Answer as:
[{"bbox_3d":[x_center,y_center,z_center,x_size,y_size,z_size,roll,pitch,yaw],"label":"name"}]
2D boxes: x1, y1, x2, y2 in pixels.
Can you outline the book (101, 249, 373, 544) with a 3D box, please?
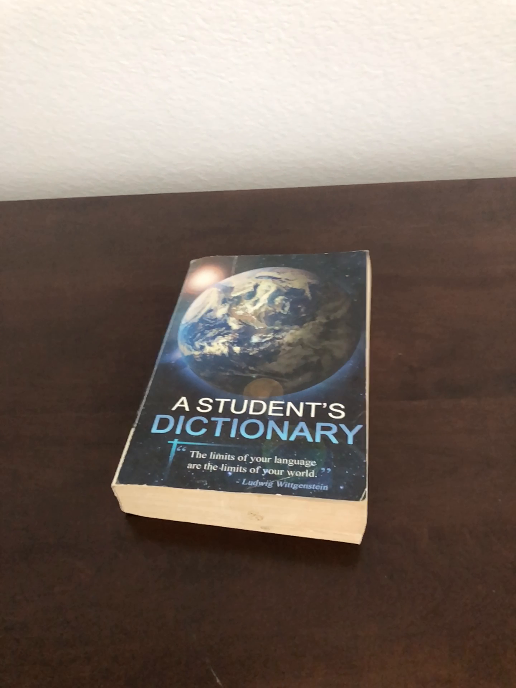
[{"bbox_3d":[0.002,0.020,0.373,0.140,0.040,0.203,-1,46,12],"label":"book"}]
